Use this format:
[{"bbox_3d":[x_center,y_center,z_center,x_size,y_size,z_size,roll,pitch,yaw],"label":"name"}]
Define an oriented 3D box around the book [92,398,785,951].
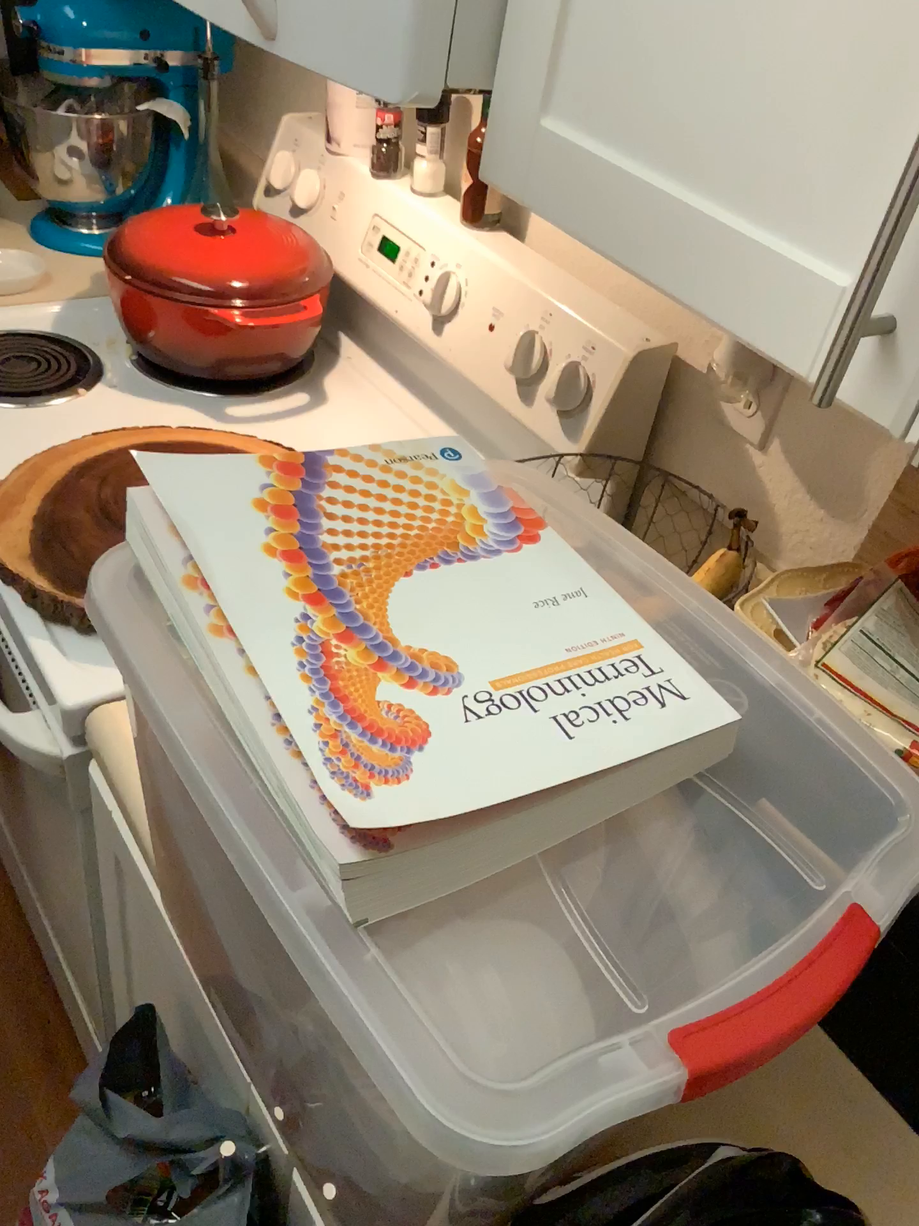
[{"bbox_3d":[-0.023,-0.003,0.528,0.230,0.050,0.290,-17,47,-31],"label":"book"}]
